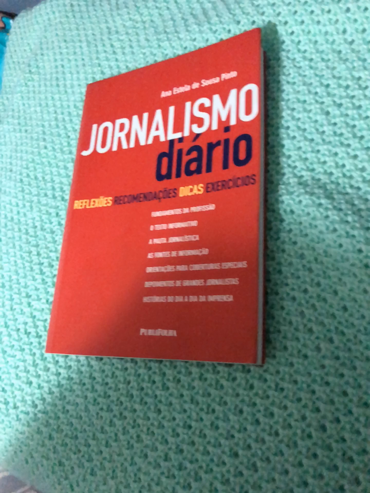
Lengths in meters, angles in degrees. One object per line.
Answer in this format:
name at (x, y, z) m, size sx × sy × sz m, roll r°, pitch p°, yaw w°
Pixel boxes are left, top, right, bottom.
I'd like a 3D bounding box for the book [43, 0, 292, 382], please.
book at (-0.012, -0.043, 0.287) m, size 0.160 × 0.030 × 0.250 m, roll -6°, pitch 71°, yaw 29°
